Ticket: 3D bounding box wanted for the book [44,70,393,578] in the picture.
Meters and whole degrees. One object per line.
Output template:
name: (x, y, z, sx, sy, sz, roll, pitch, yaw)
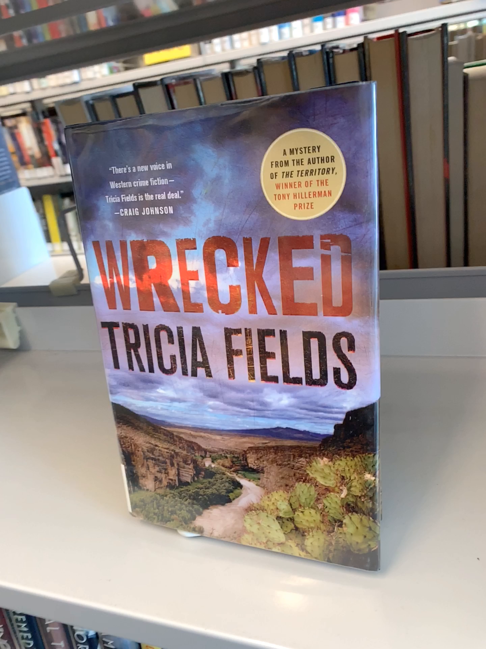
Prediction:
book: (-0.007, 0.008, 0.247, 0.147, 0.213, 0.035, 1, 17, 23)
